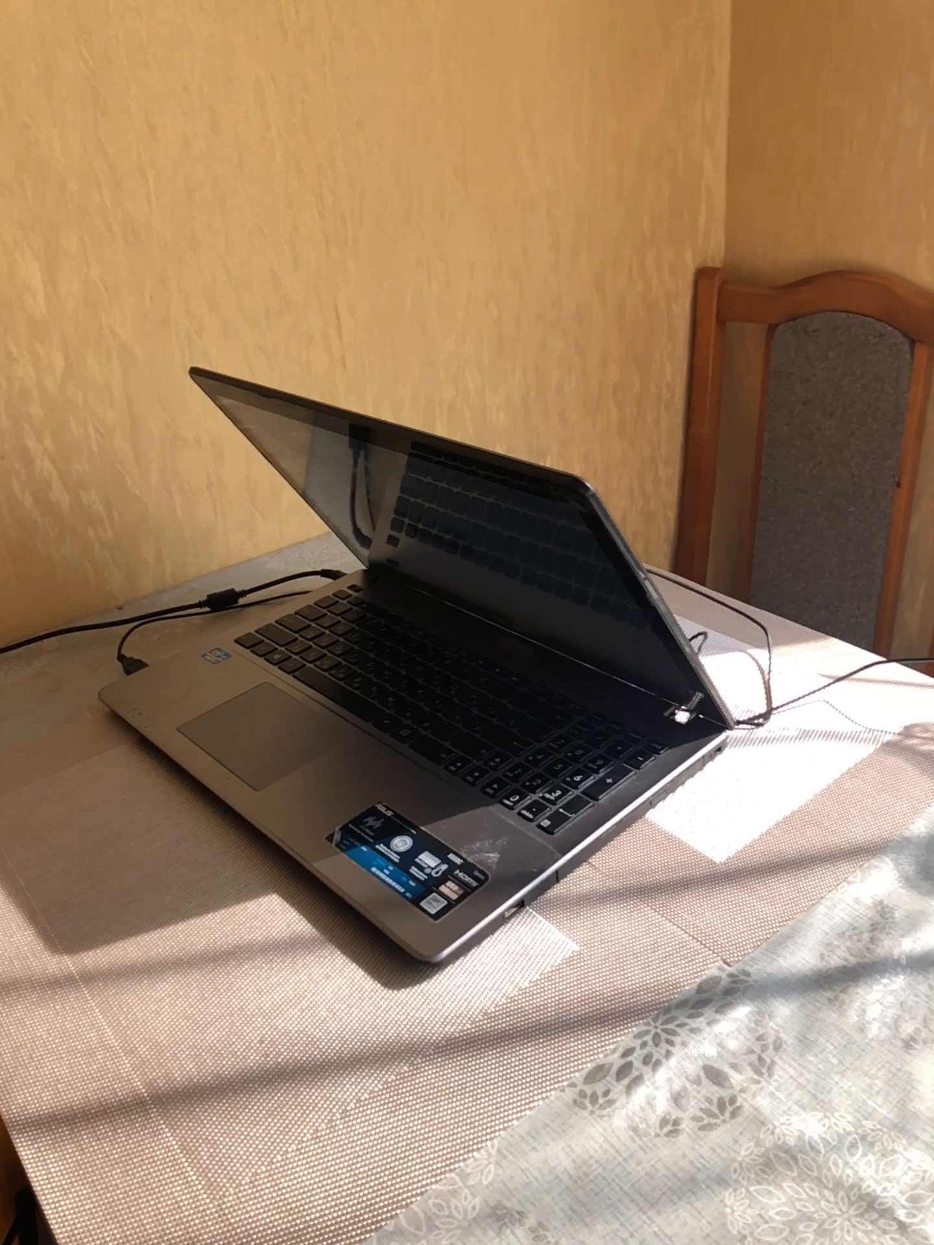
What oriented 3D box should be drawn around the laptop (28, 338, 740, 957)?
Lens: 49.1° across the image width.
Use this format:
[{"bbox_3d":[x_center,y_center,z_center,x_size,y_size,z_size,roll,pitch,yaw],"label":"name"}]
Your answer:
[{"bbox_3d":[-0.060,-0.027,0.642,0.240,0.197,0.365,-28,36,-34],"label":"laptop"}]
